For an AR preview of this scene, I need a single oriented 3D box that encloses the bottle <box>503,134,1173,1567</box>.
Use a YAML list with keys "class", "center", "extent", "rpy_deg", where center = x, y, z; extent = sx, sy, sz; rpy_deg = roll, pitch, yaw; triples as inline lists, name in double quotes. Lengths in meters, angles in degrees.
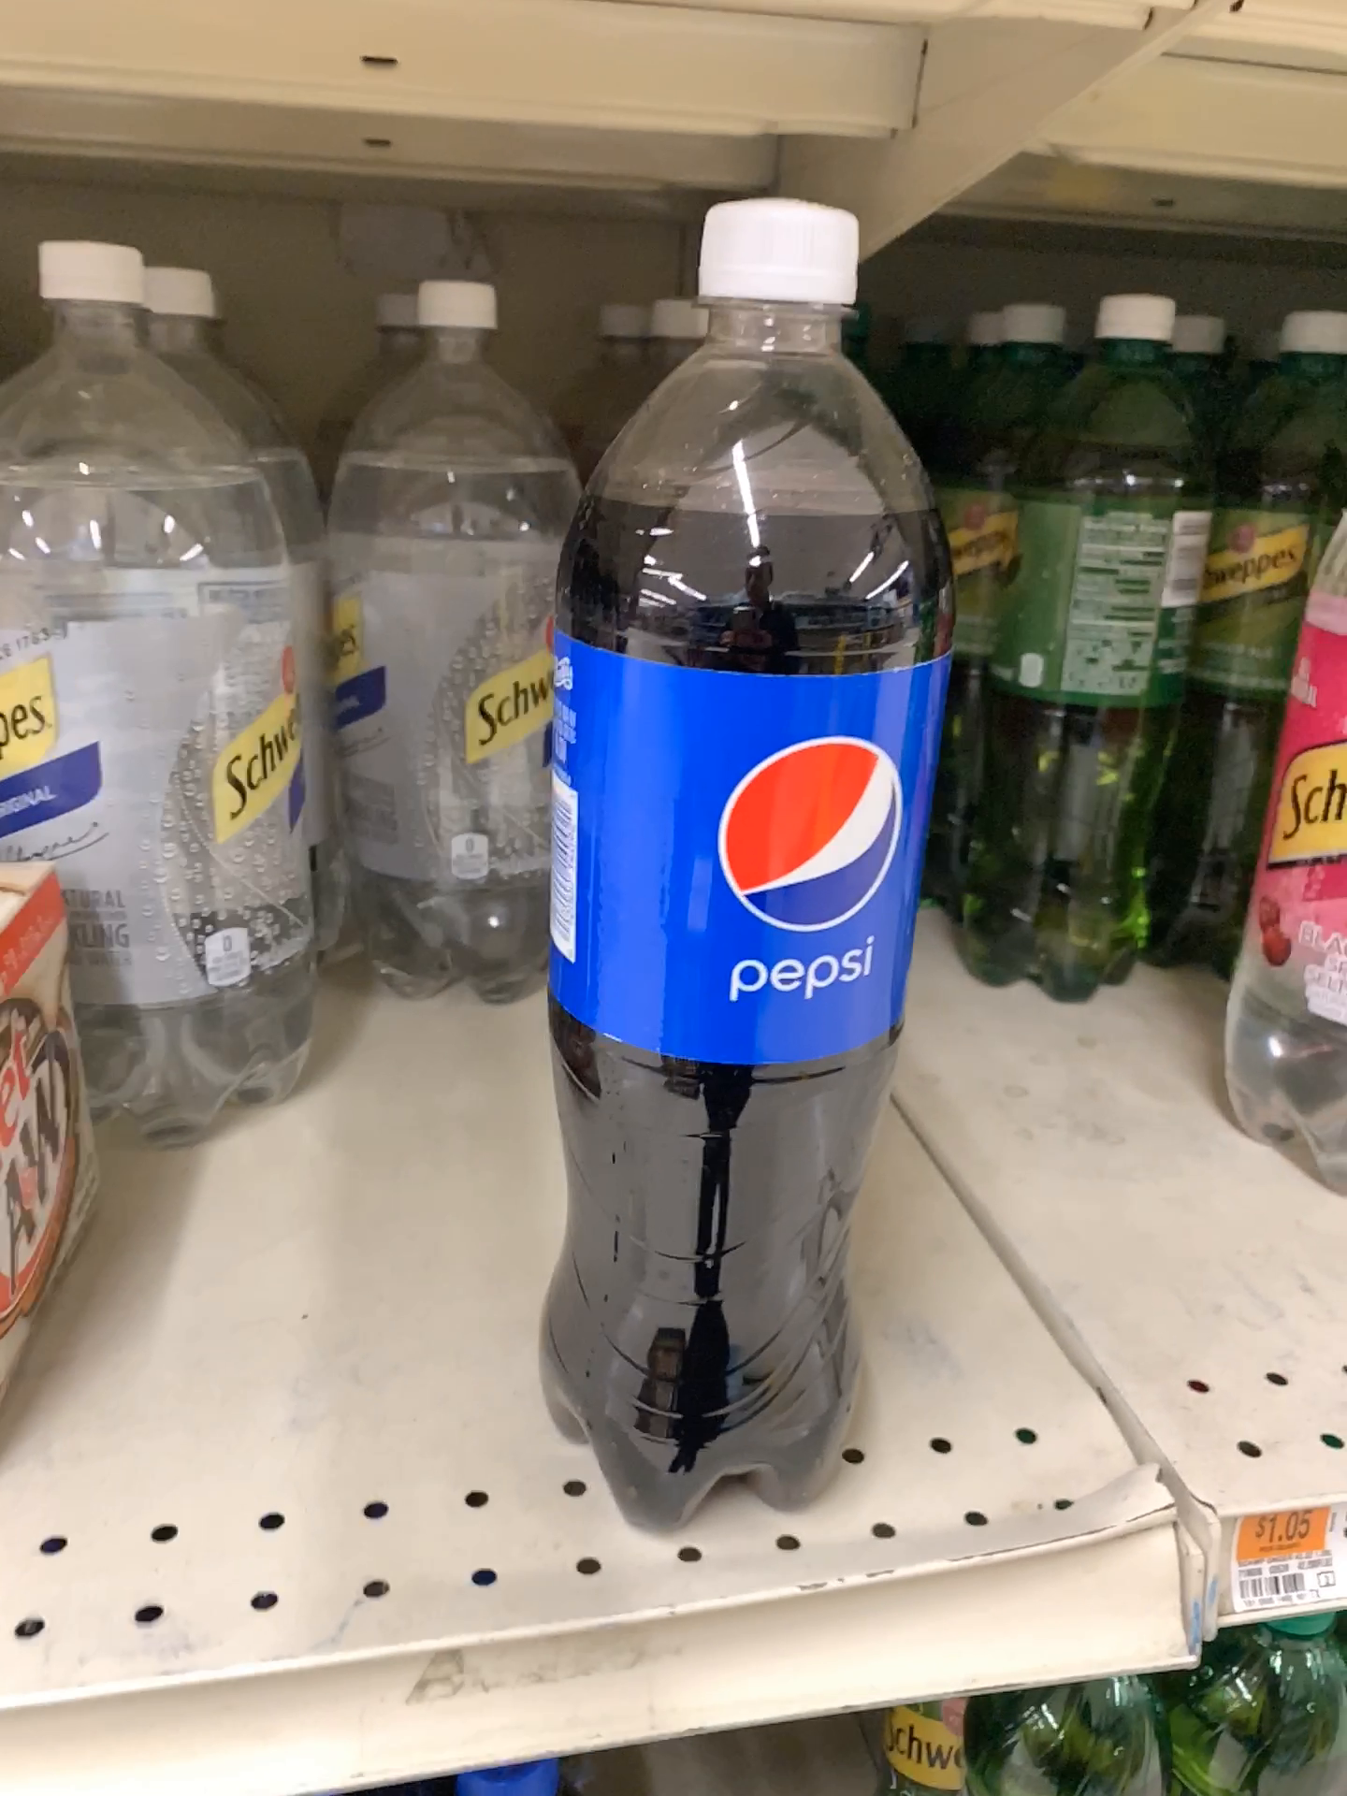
- class: "bottle"
  center: [0.018, -0.002, 0.310]
  extent: [0.101, 0.279, 0.090]
  rpy_deg: [-3, 21, -14]
